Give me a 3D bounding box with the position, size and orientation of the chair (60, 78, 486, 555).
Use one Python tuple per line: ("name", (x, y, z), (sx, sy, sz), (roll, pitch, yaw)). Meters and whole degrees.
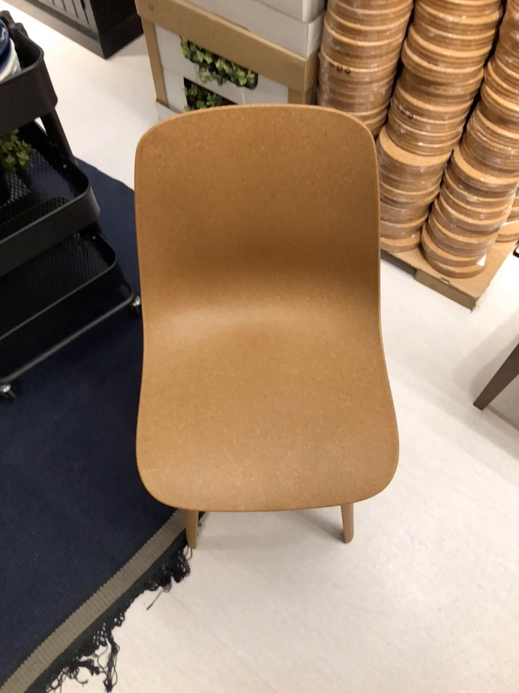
("chair", (0.012, 0.028, 1.050), (0.440, 0.747, 0.552), (-3, 62, 0))
